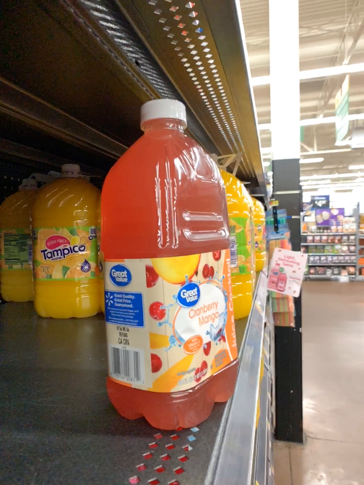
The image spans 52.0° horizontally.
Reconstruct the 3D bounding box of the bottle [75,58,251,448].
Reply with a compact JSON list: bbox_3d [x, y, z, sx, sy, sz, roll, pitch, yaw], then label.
[{"bbox_3d":[-0.012,0.006,0.339,0.101,0.273,0.119,0,3,35],"label":"bottle"}]
